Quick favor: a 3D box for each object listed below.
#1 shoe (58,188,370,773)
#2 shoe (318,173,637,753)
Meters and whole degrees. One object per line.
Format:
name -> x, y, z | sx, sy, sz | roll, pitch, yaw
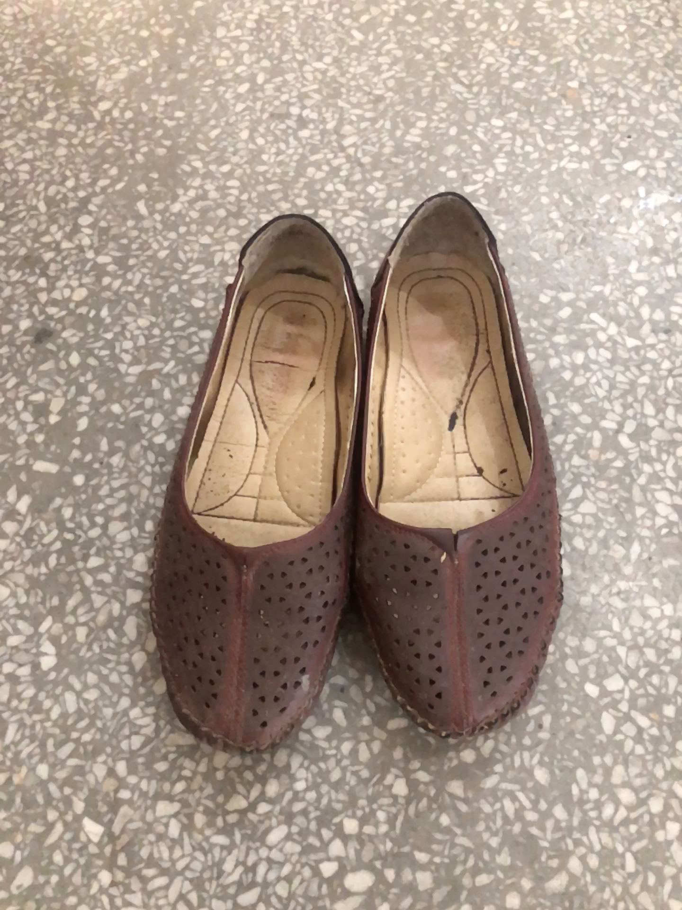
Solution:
shoe -> -0.039, 0.007, 0.331 | 0.087, 0.080, 0.236 | 3, 68, 4
shoe -> 0.044, 0.001, 0.327 | 0.095, 0.080, 0.231 | -4, 68, 1
